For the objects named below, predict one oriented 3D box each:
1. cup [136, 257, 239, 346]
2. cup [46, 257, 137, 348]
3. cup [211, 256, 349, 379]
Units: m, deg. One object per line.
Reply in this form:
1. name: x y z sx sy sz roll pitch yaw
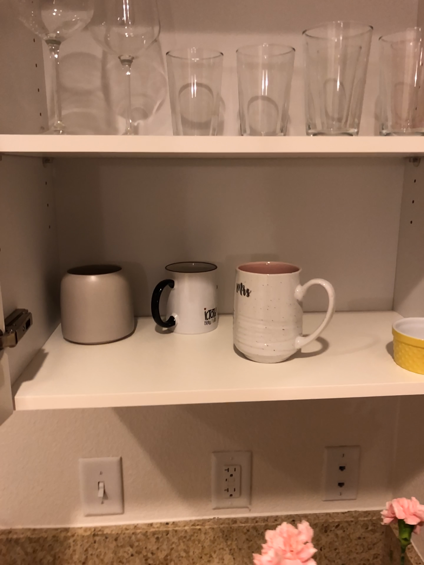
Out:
1. cup: -0.033 0.021 0.656 0.090 0.090 0.110 12 18 43
2. cup: -0.169 0.022 0.679 0.110 0.090 0.150 -3 13 -11
3. cup: 0.082 0.035 0.573 0.140 0.110 0.090 8 15 30
